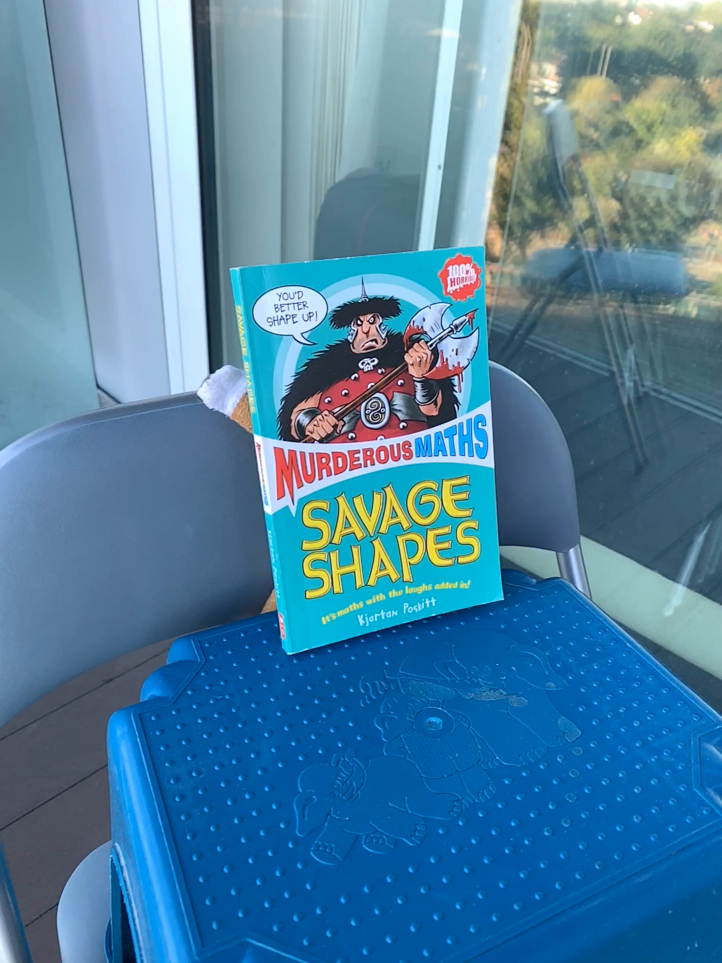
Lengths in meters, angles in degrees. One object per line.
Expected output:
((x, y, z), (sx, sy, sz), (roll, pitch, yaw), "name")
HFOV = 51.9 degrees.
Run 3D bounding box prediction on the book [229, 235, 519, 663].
((0.013, -0.019, 0.376), (0.134, 0.193, 0.029), (-10, 15, -22), "book")
